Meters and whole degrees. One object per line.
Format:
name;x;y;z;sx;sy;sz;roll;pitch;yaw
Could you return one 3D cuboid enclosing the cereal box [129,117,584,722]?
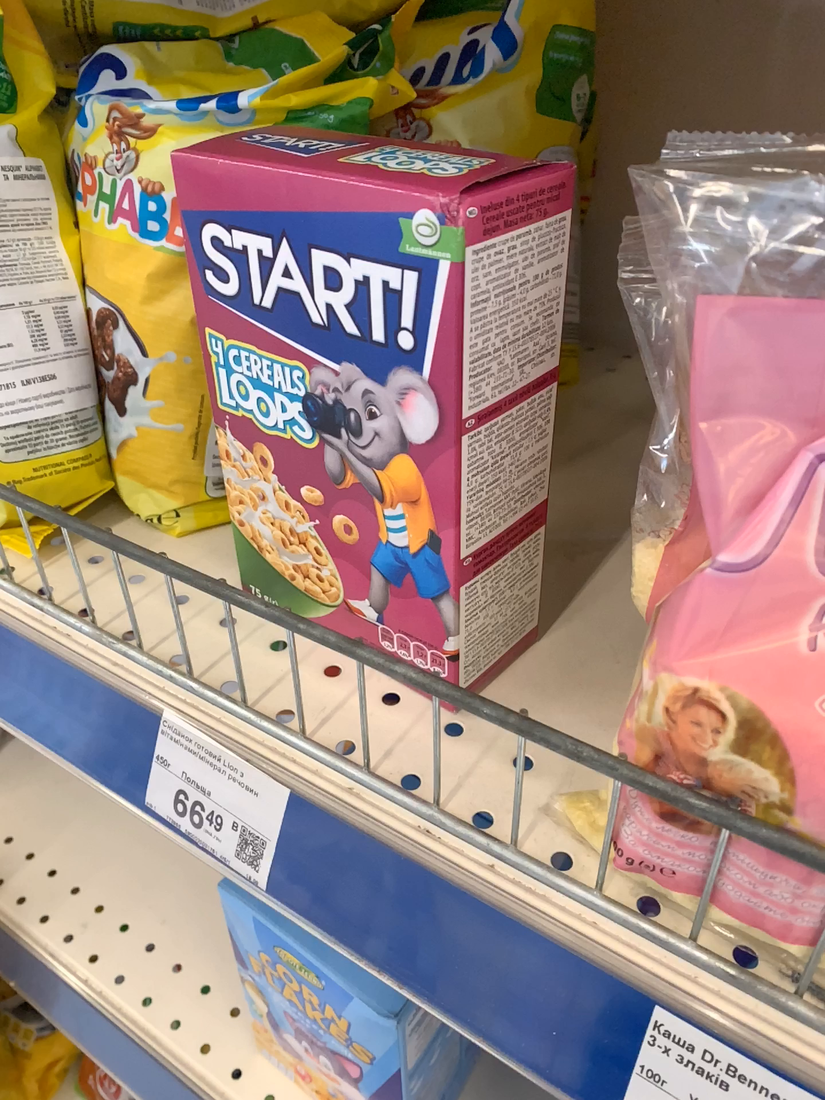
cereal box;-0.017;-0.043;0.275;0.120;0.159;0.050;24;43;32
